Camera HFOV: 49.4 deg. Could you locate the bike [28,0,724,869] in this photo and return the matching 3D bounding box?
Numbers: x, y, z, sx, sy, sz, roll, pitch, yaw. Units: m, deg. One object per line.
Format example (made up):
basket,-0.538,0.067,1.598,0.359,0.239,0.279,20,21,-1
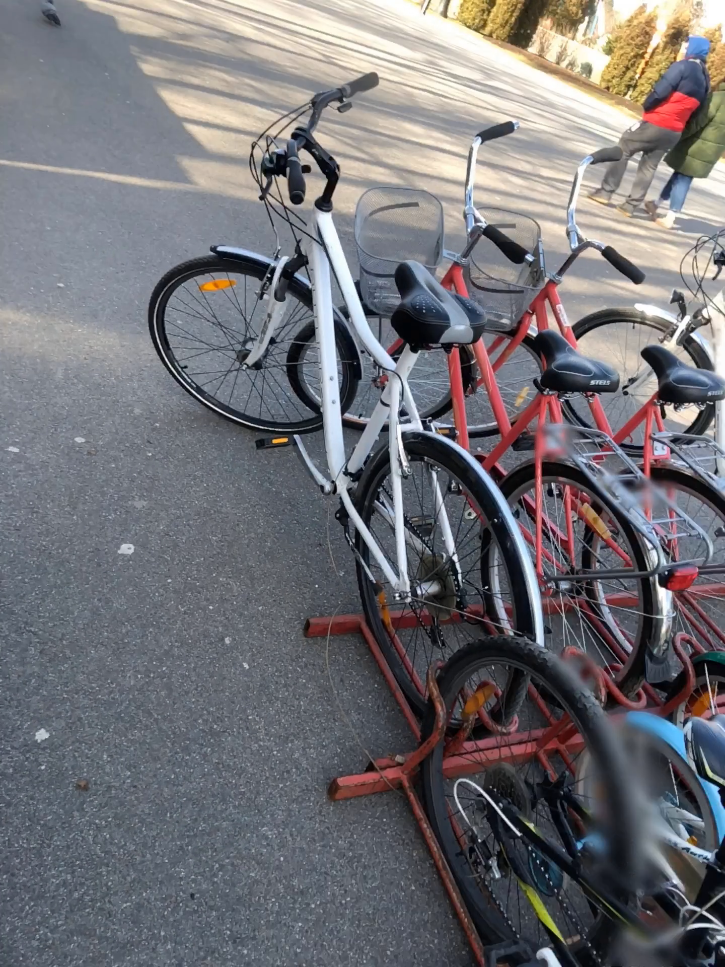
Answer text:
bike,-0.112,-0.236,1.850,0.620,1.163,1.605,-8,43,-41
